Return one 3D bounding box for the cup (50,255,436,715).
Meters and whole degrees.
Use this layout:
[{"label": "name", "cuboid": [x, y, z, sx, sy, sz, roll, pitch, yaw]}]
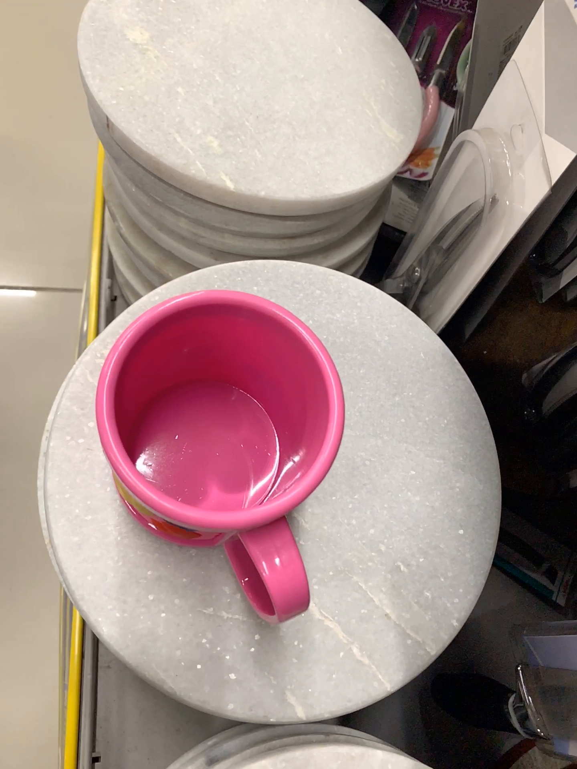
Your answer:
[{"label": "cup", "cuboid": [-0.025, 0.037, 0.224, 0.080, 0.100, 0.120, -17, 72, -19]}]
